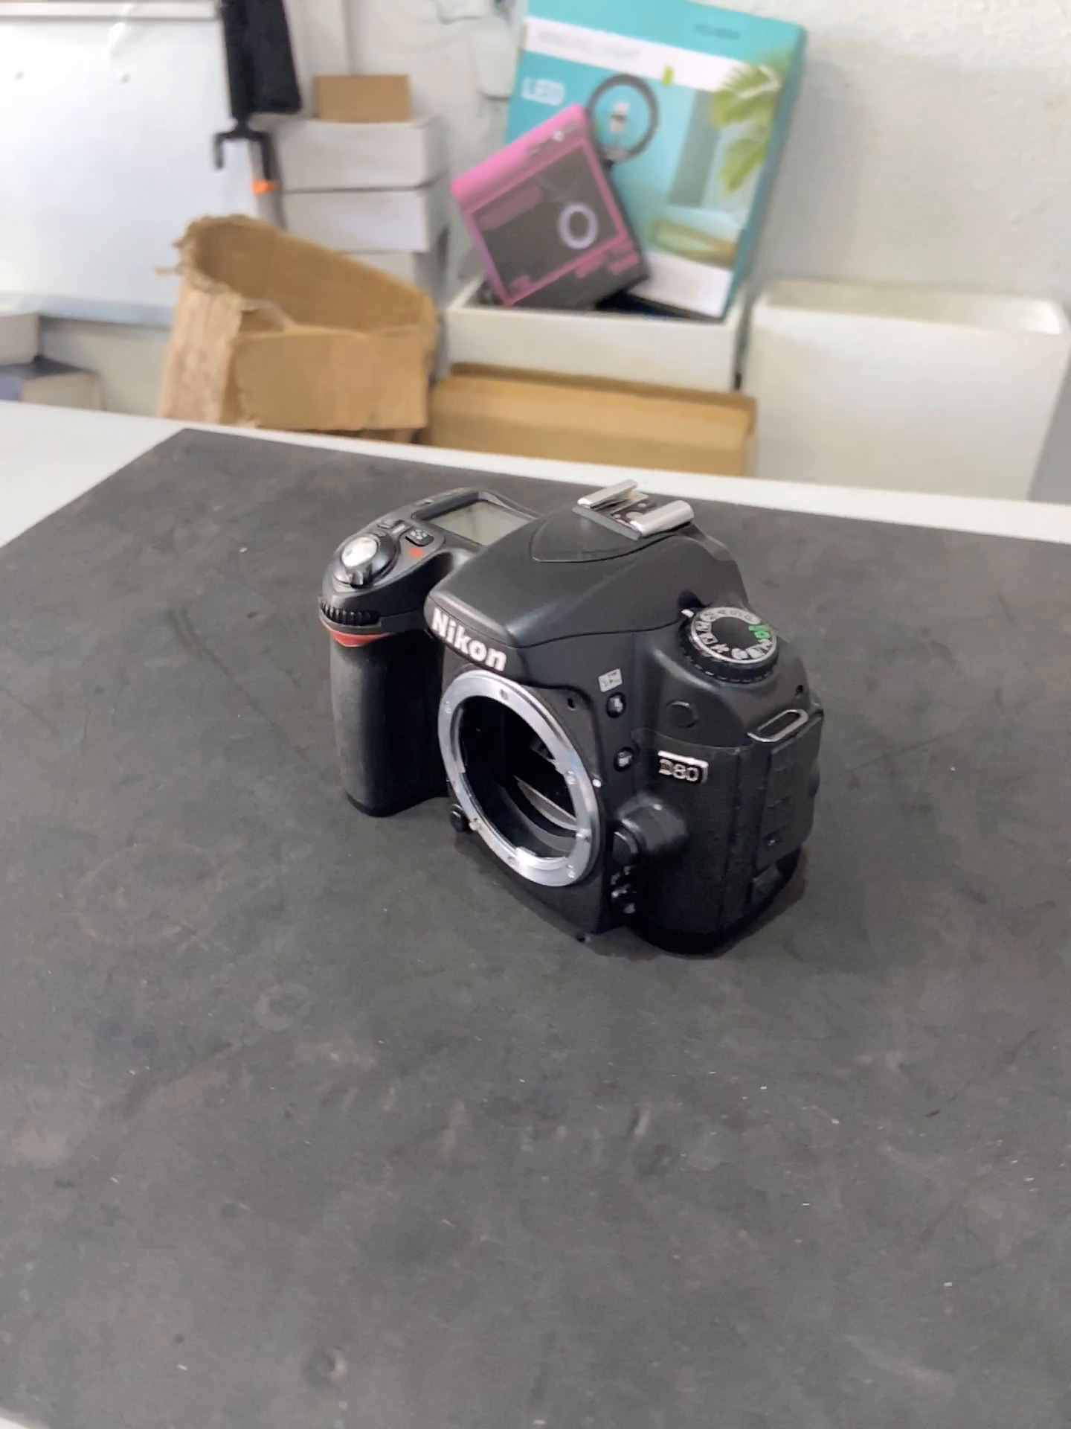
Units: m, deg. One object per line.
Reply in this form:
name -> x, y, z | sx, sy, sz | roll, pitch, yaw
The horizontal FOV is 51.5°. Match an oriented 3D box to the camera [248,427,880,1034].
camera -> 0.003, -0.007, 0.298 | 0.084, 0.088, 0.136 | -29, 44, -35
